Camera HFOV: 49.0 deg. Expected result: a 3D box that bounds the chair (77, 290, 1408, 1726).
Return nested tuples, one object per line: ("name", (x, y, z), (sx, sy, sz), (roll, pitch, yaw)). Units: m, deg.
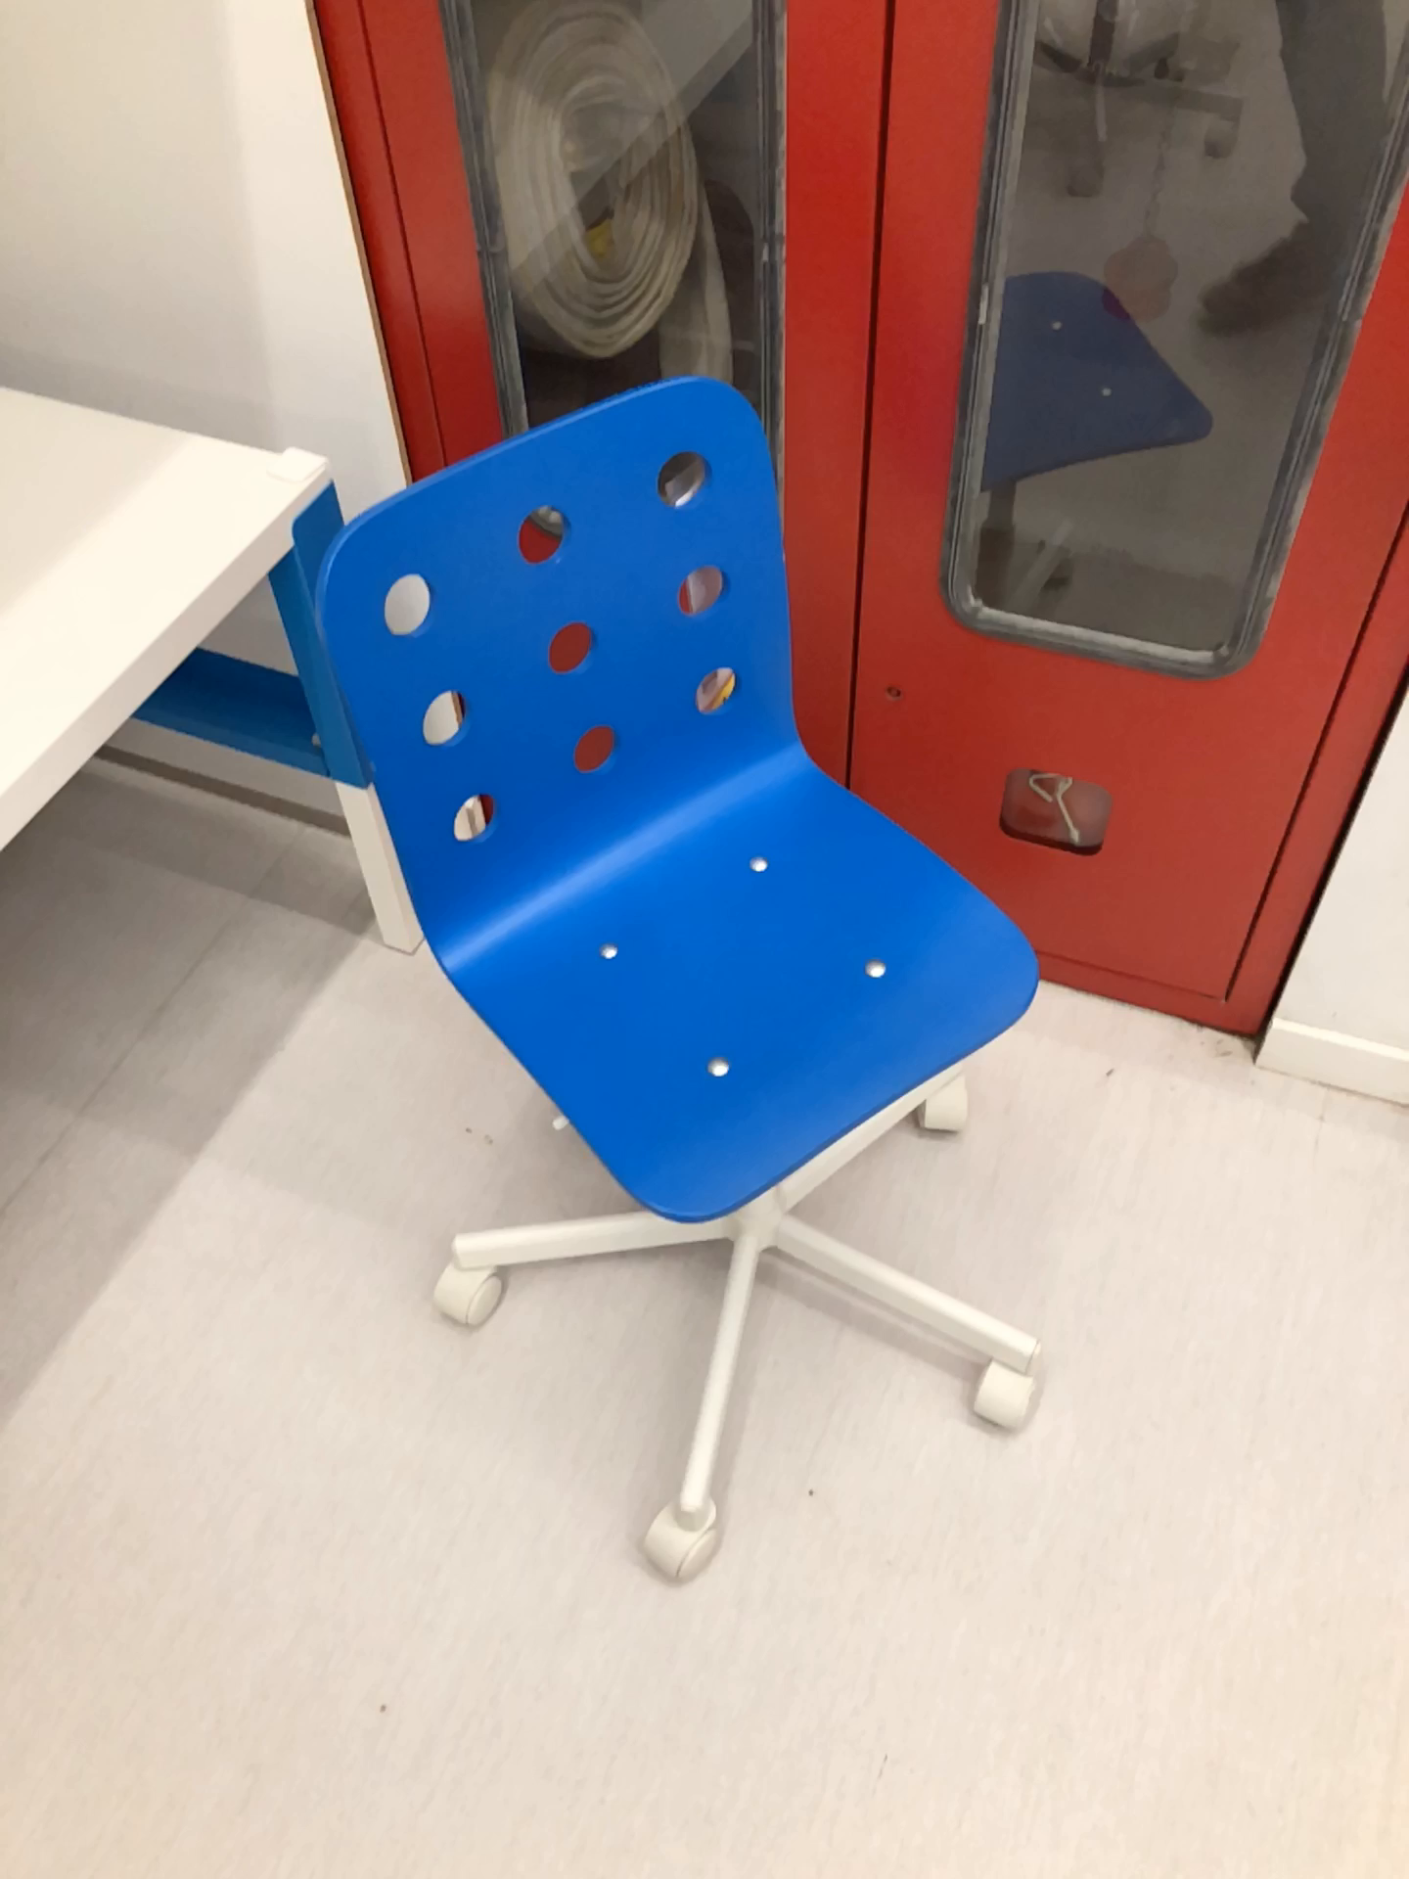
("chair", (0.042, 0.042, 1.093), (0.571, 0.626, 0.562), (-31, 55, -21))
